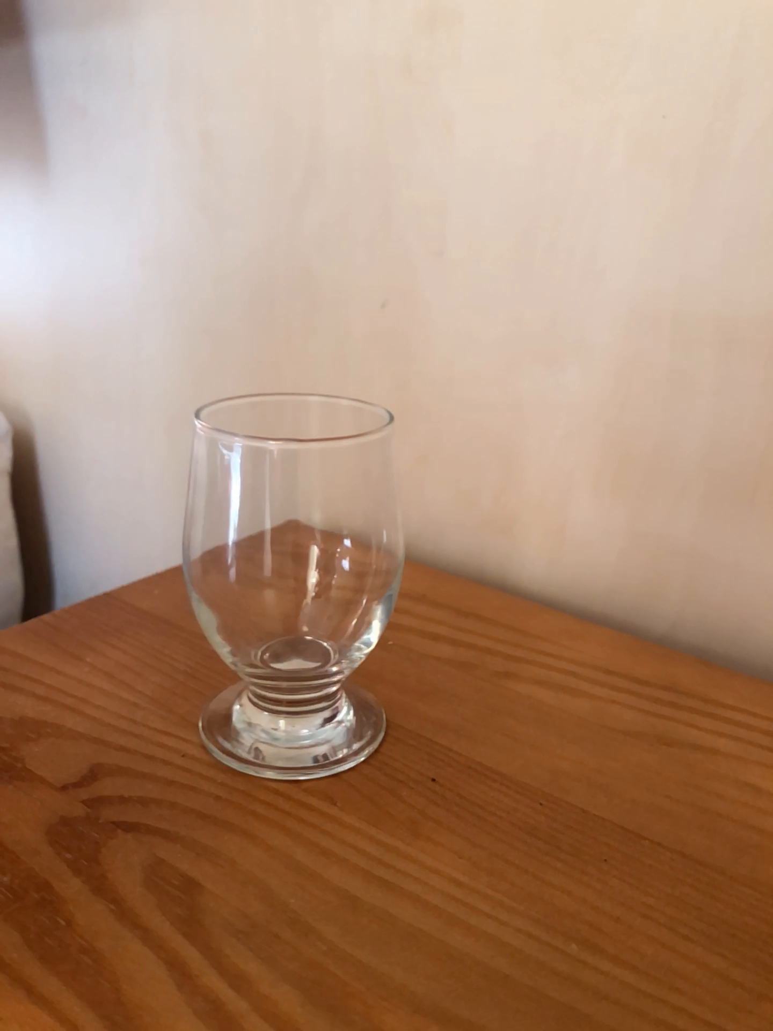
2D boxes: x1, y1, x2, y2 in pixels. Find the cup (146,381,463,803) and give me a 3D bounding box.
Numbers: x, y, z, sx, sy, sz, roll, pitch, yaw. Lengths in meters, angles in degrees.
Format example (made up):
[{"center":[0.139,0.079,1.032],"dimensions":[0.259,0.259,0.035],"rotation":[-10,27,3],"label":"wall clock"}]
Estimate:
[{"center":[-0.025,0.019,0.291],"dimensions":[0.078,0.107,0.082],"rotation":[4,20,-1],"label":"cup"}]
